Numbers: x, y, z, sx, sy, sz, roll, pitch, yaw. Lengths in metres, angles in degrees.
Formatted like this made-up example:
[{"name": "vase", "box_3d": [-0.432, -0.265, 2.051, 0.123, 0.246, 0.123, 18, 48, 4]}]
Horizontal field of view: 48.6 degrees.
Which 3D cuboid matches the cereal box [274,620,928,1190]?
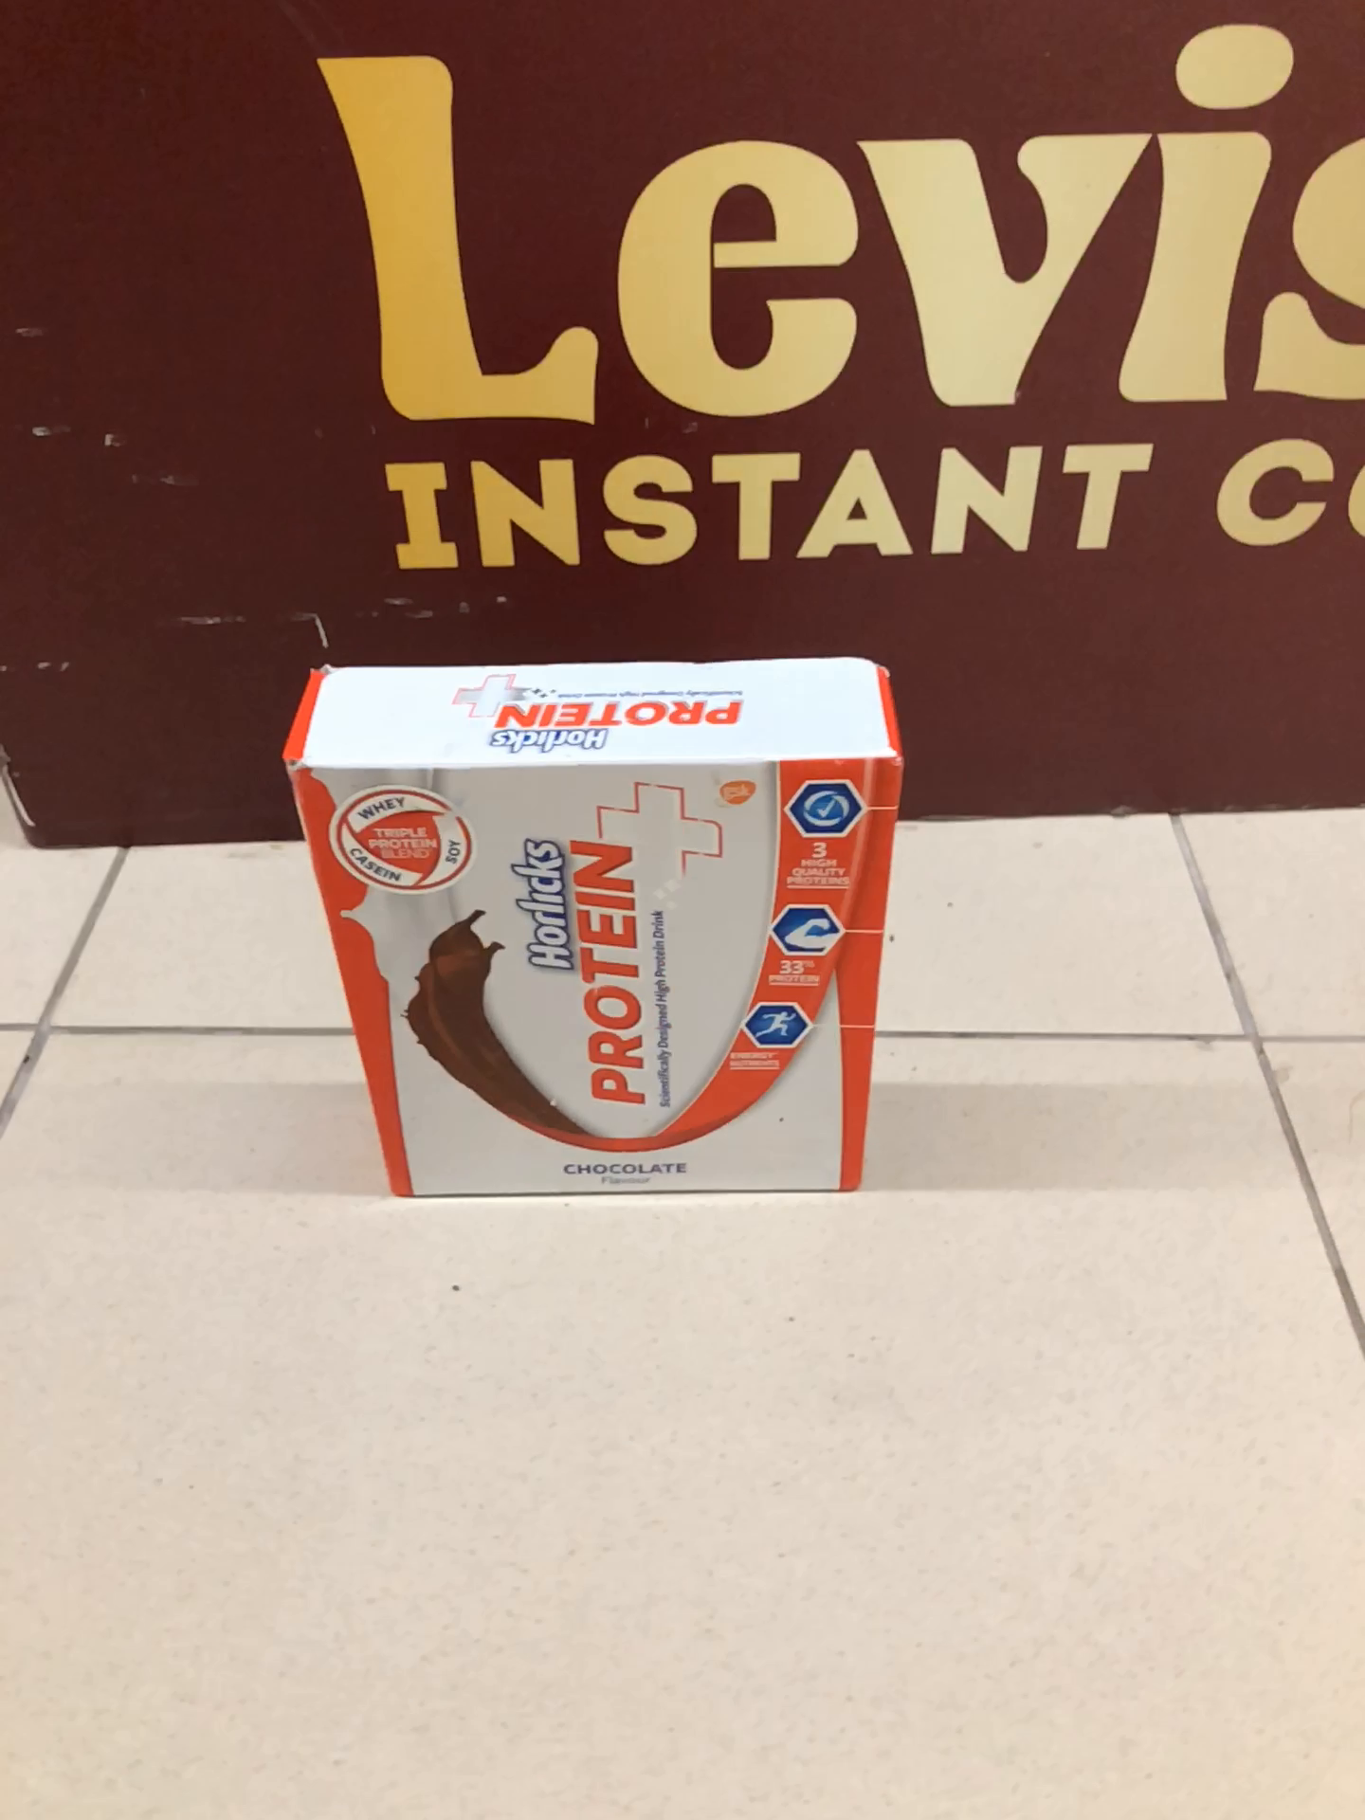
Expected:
[{"name": "cereal box", "box_3d": [-0.016, 0.005, 0.391, 0.140, 0.149, 0.050, -1, 41, 1]}]
